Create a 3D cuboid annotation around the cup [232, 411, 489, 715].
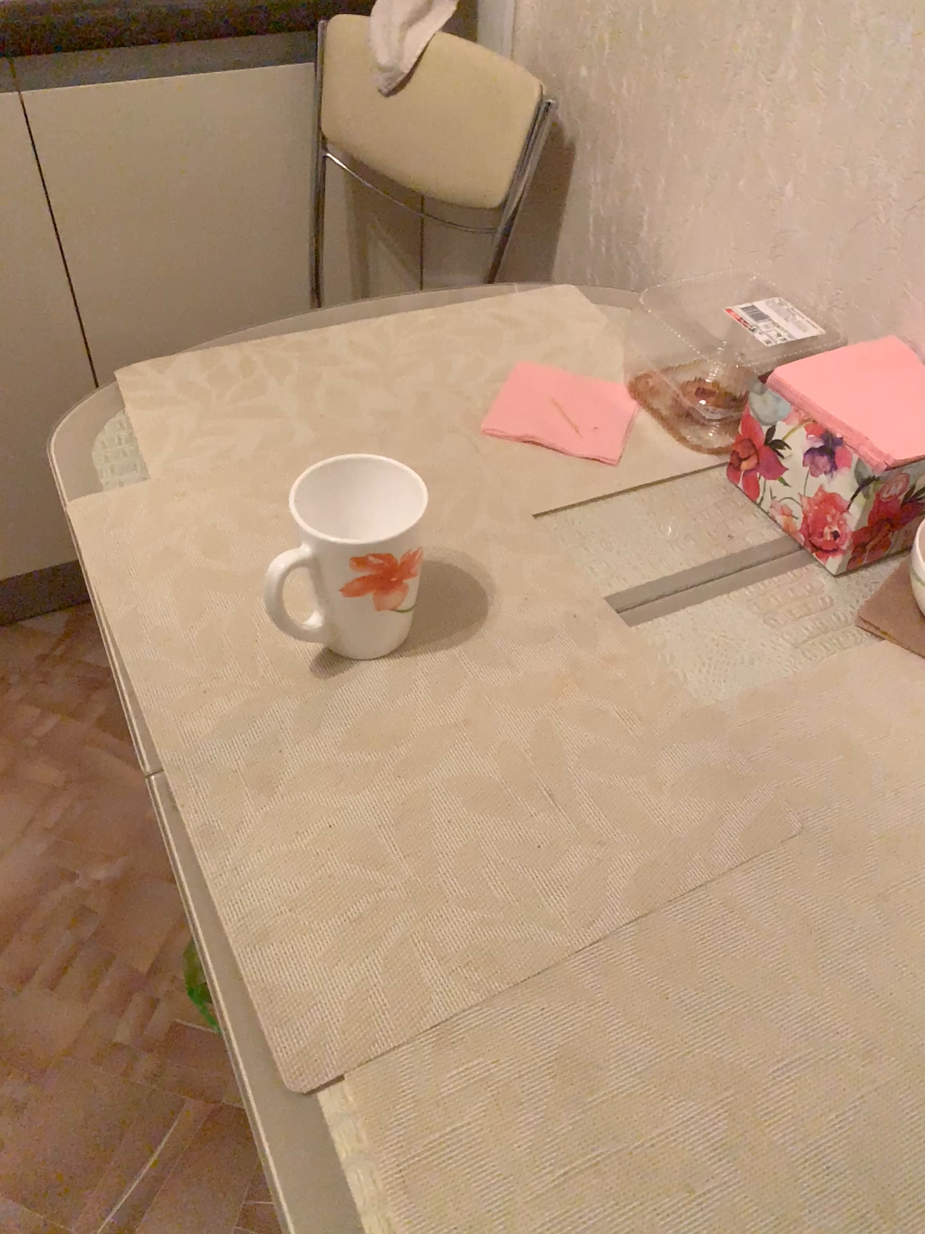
[{"bbox_3d":[-0.055,-0.033,0.554,0.080,0.109,0.121,29,51,24],"label":"cup"}]
